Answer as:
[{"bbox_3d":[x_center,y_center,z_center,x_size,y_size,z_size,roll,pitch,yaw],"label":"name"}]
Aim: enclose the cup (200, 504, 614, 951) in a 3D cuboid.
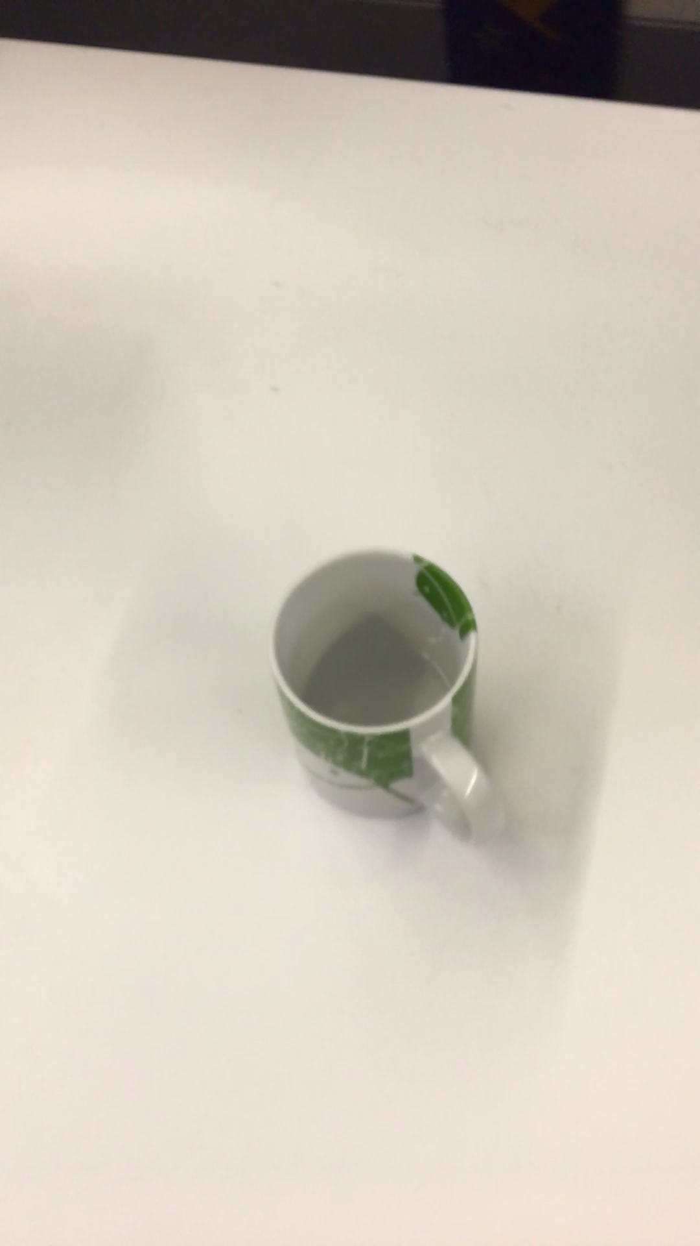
[{"bbox_3d":[0.021,0.041,0.411,0.090,0.090,0.120,-36,64,-15],"label":"cup"}]
